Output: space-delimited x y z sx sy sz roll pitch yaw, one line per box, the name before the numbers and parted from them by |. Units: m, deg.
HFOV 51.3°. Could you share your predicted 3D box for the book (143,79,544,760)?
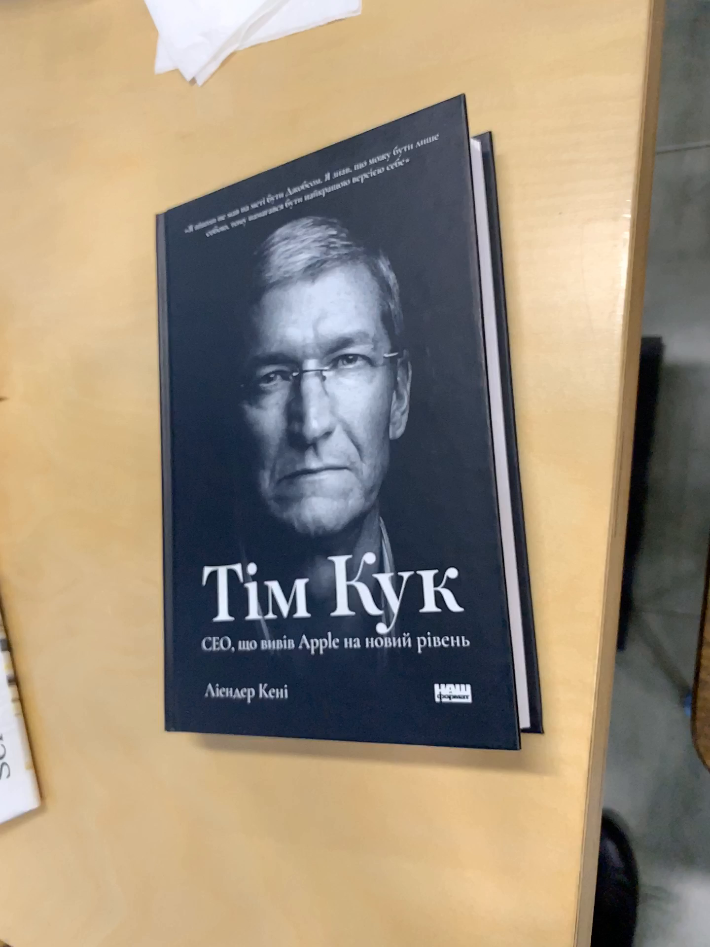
book | -0.014 -0.014 0.279 0.145 0.034 0.217 -8 79 29
